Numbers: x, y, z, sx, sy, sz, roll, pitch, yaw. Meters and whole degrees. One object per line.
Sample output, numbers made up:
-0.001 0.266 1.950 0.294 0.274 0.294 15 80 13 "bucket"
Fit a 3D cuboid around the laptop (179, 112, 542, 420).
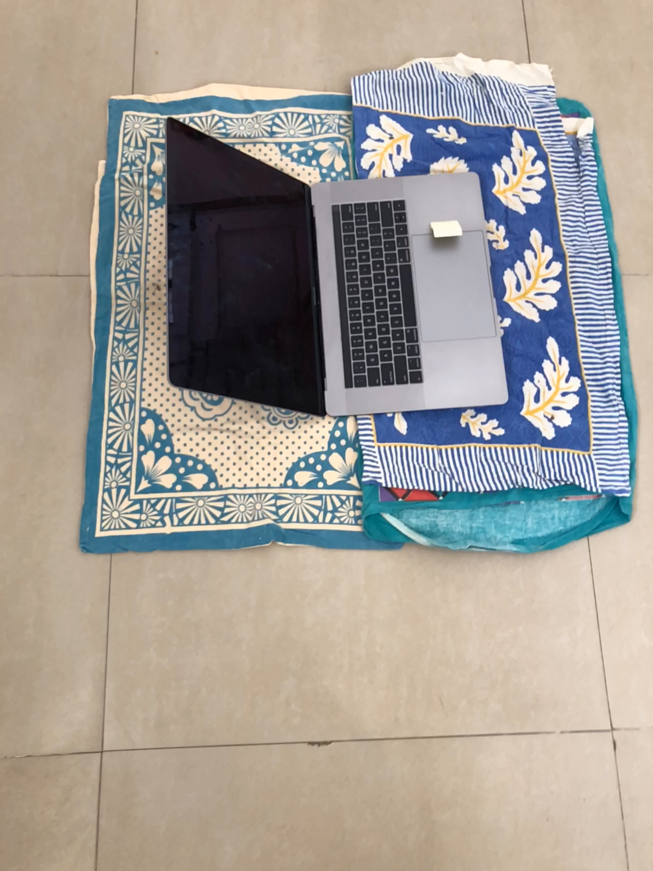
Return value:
0.026 -0.210 0.906 0.401 0.132 0.336 -3 75 -2 "laptop"
